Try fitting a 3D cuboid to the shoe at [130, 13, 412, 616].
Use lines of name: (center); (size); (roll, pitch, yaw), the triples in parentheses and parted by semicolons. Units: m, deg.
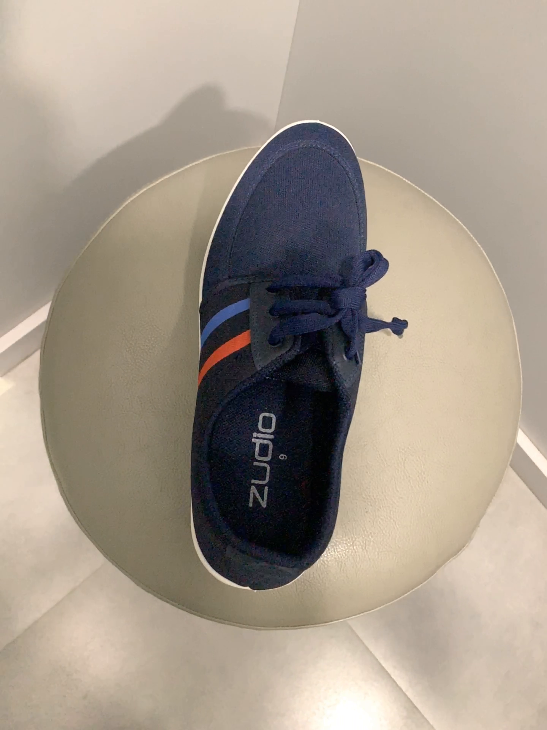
shoe: (0.001, -0.028, 0.324); (0.100, 0.100, 0.290); (9, 81, -4)
